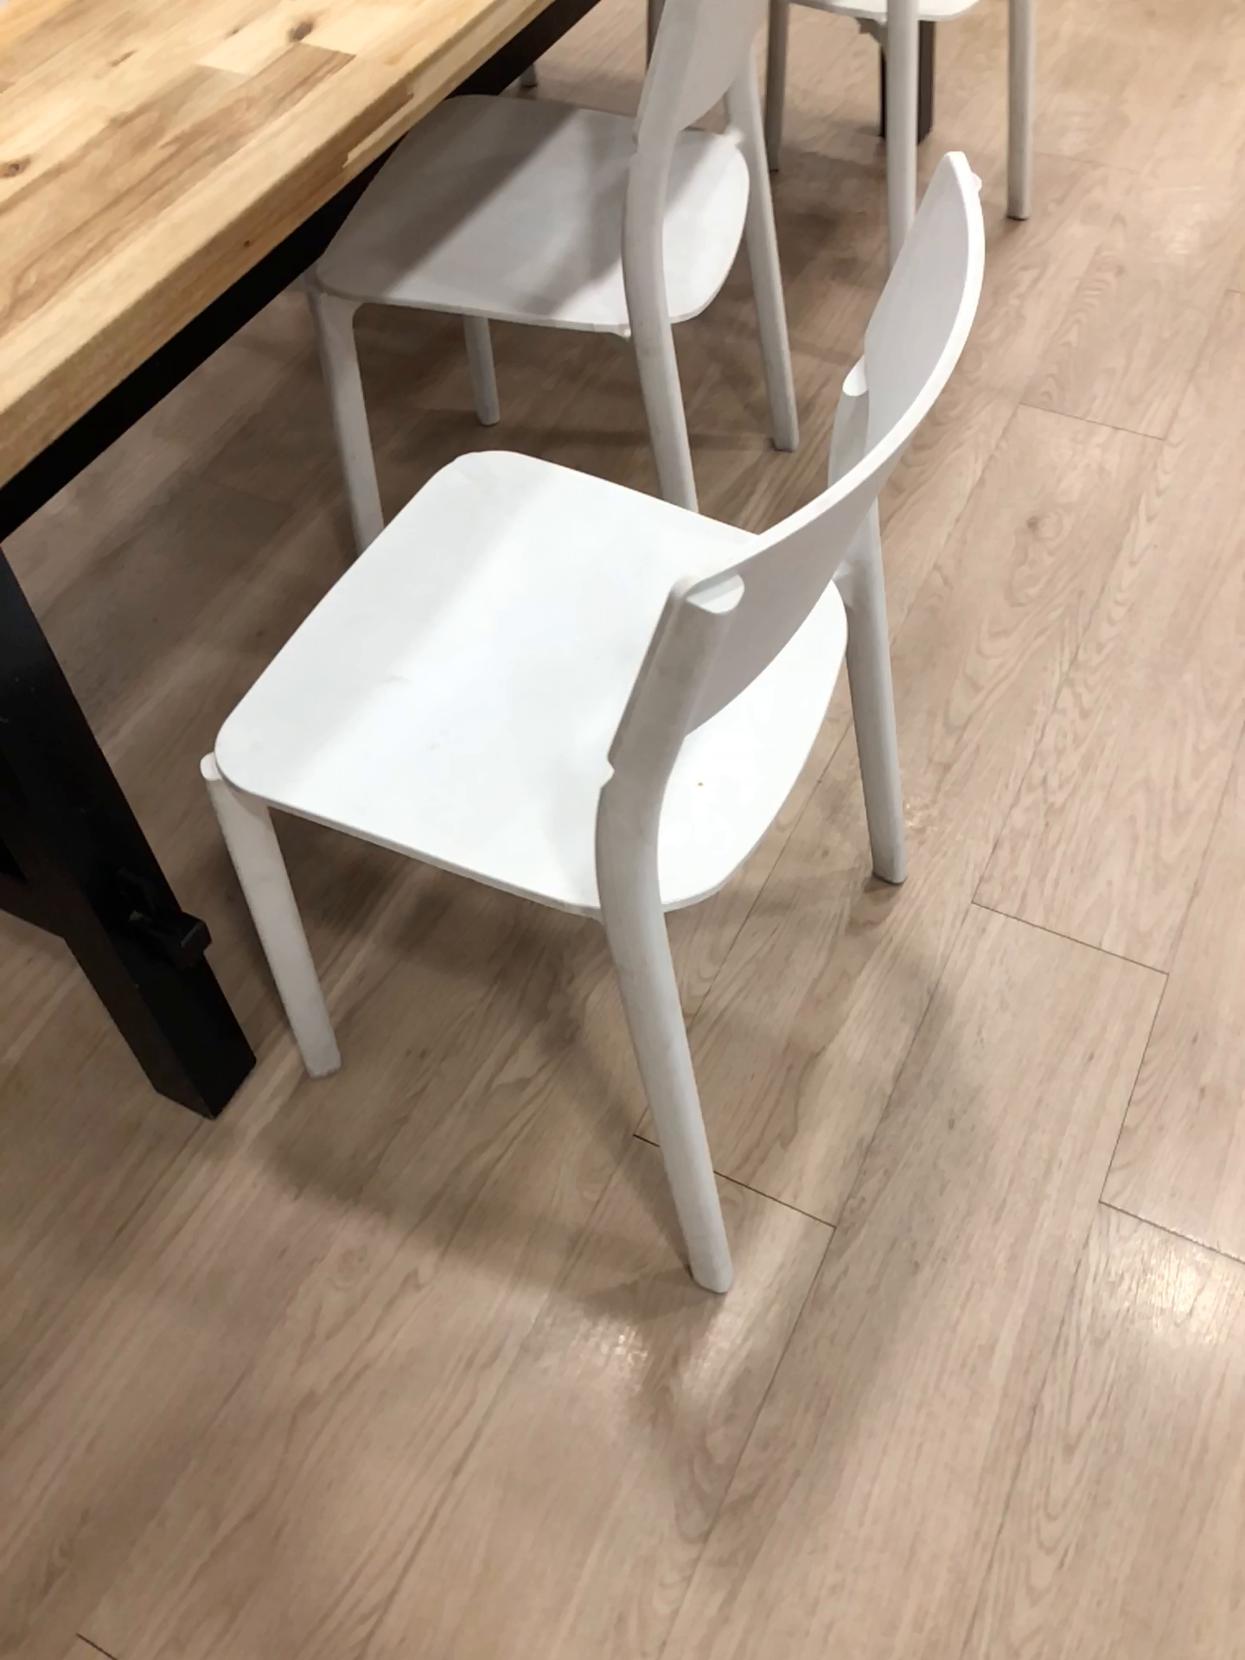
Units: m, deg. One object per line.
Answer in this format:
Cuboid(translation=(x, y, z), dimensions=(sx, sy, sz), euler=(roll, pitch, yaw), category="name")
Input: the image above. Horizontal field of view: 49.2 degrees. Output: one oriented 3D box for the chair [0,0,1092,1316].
Cuboid(translation=(-0.068, -0.103, 1.041), dimensions=(0.561, 0.716, 0.532), euler=(19, 57, 17), category="chair")
